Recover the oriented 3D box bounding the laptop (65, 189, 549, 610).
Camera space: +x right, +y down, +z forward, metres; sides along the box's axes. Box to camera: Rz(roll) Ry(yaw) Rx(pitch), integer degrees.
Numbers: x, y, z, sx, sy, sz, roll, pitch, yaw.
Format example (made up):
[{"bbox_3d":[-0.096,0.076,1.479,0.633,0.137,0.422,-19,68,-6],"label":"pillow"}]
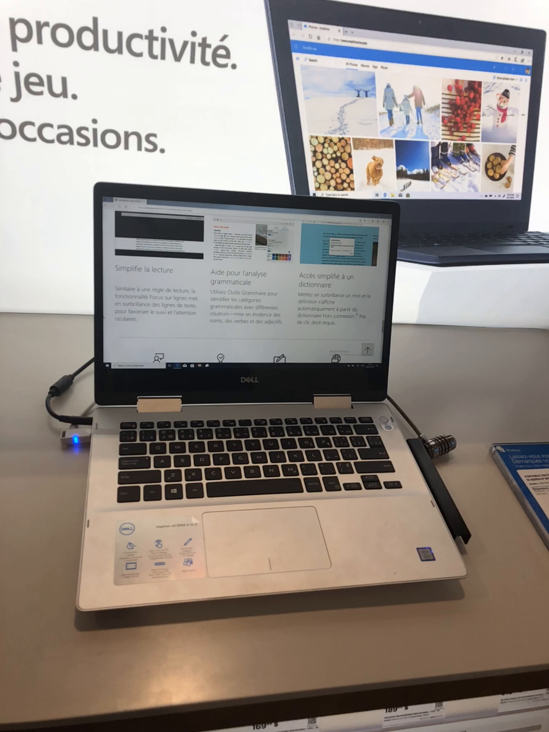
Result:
[{"bbox_3d":[-0.006,0.003,0.559,0.316,0.193,0.338,0,38,-13],"label":"laptop"}]
